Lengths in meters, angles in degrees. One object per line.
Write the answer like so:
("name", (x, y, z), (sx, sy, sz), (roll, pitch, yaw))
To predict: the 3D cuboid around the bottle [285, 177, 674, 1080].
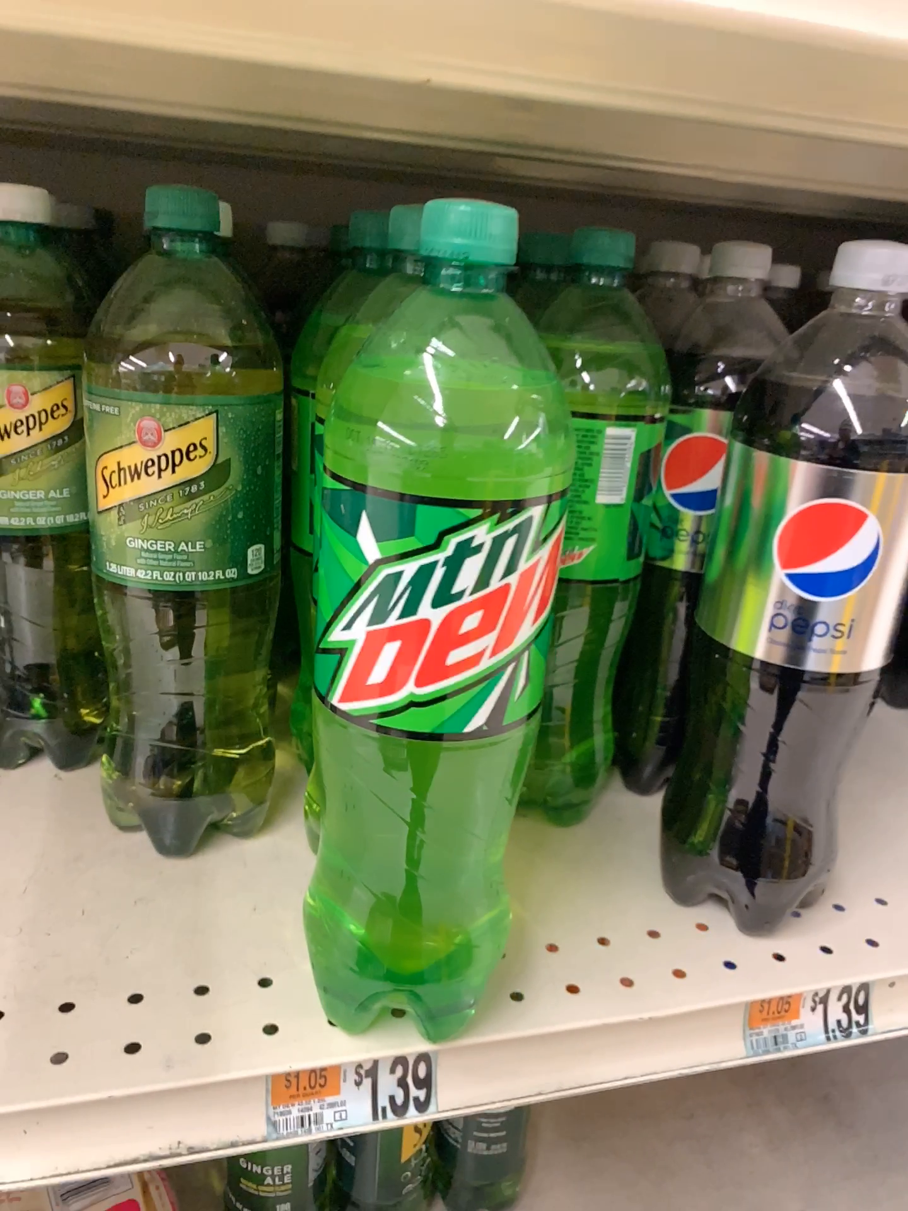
("bottle", (-0.007, 0.016, 0.344), (0.100, 0.302, 0.090), (0, 20, -13))
